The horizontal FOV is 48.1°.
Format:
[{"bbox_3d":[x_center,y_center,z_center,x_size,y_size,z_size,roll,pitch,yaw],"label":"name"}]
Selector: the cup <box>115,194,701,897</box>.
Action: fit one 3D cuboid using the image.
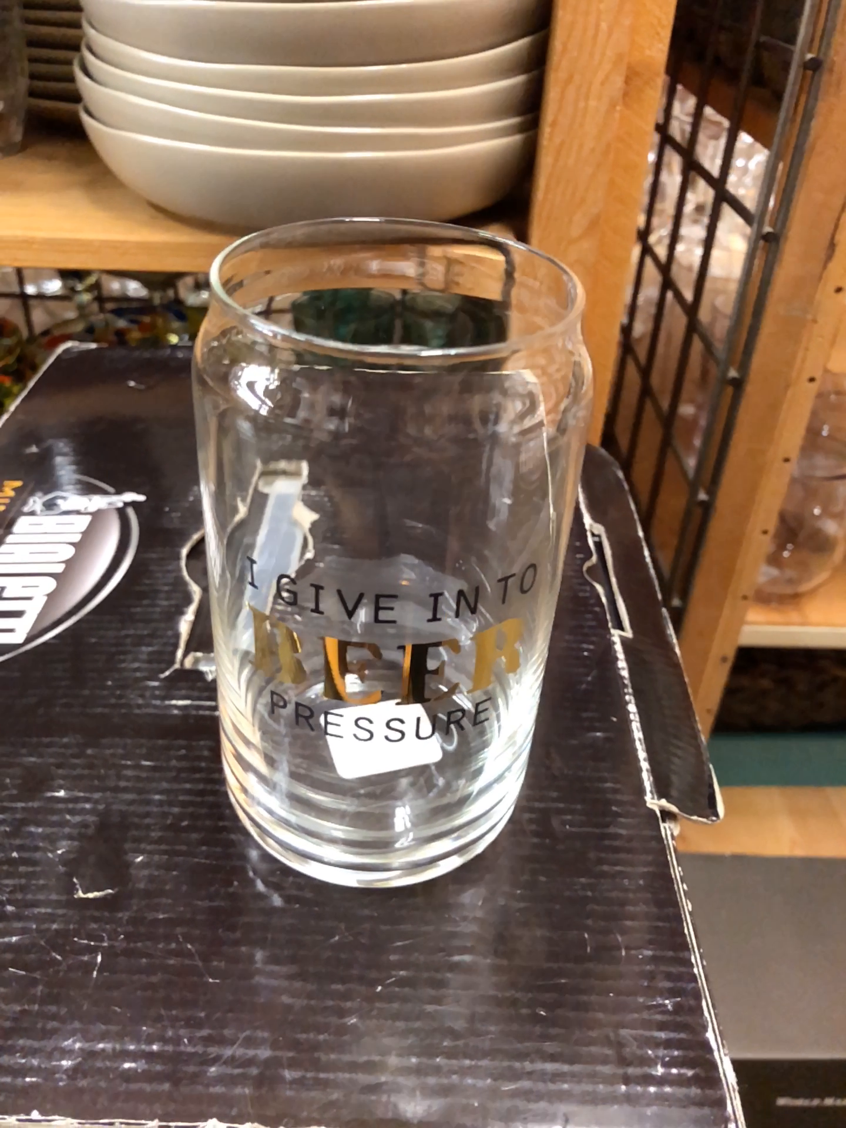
[{"bbox_3d":[-0.004,-0.005,0.200,0.081,0.116,0.088,2,35,-1],"label":"cup"}]
